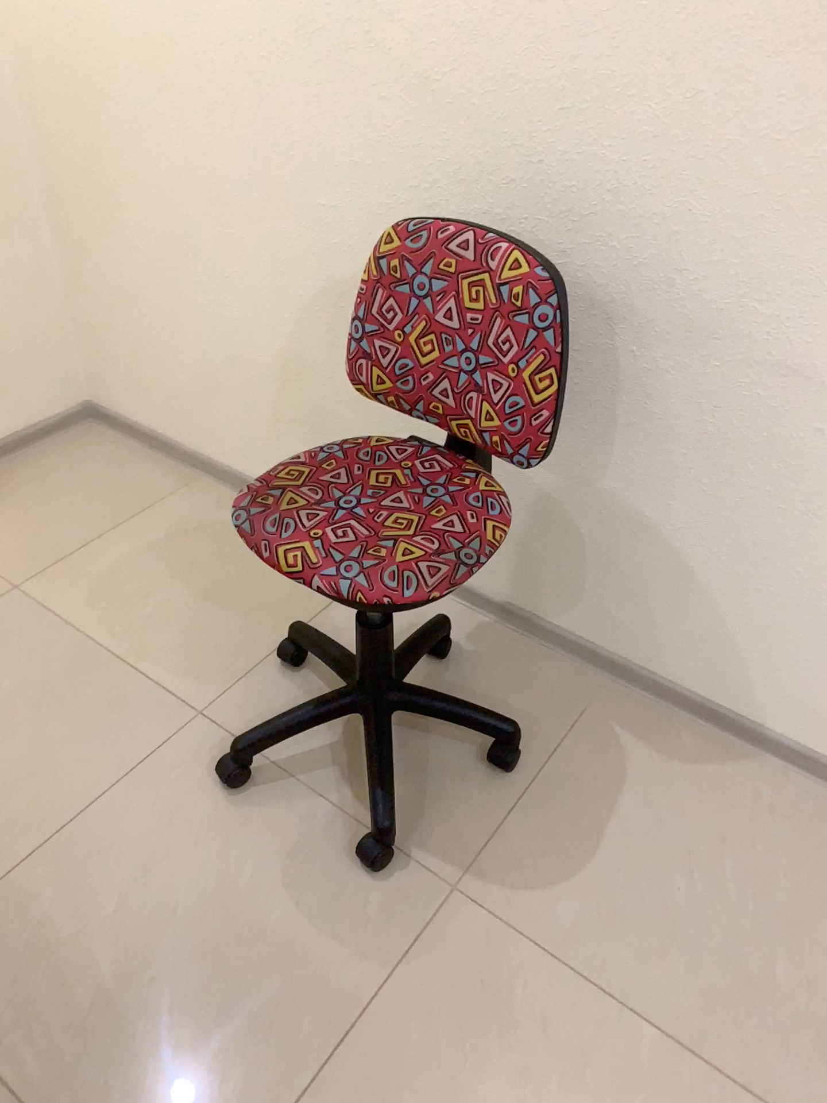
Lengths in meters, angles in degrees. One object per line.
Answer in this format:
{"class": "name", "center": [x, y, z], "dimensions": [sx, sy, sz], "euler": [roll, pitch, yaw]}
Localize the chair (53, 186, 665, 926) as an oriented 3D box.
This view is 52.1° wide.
{"class": "chair", "center": [-0.062, 0.000, 1.340], "dimensions": [0.551, 0.885, 0.542], "euler": [26, 45, 26]}
